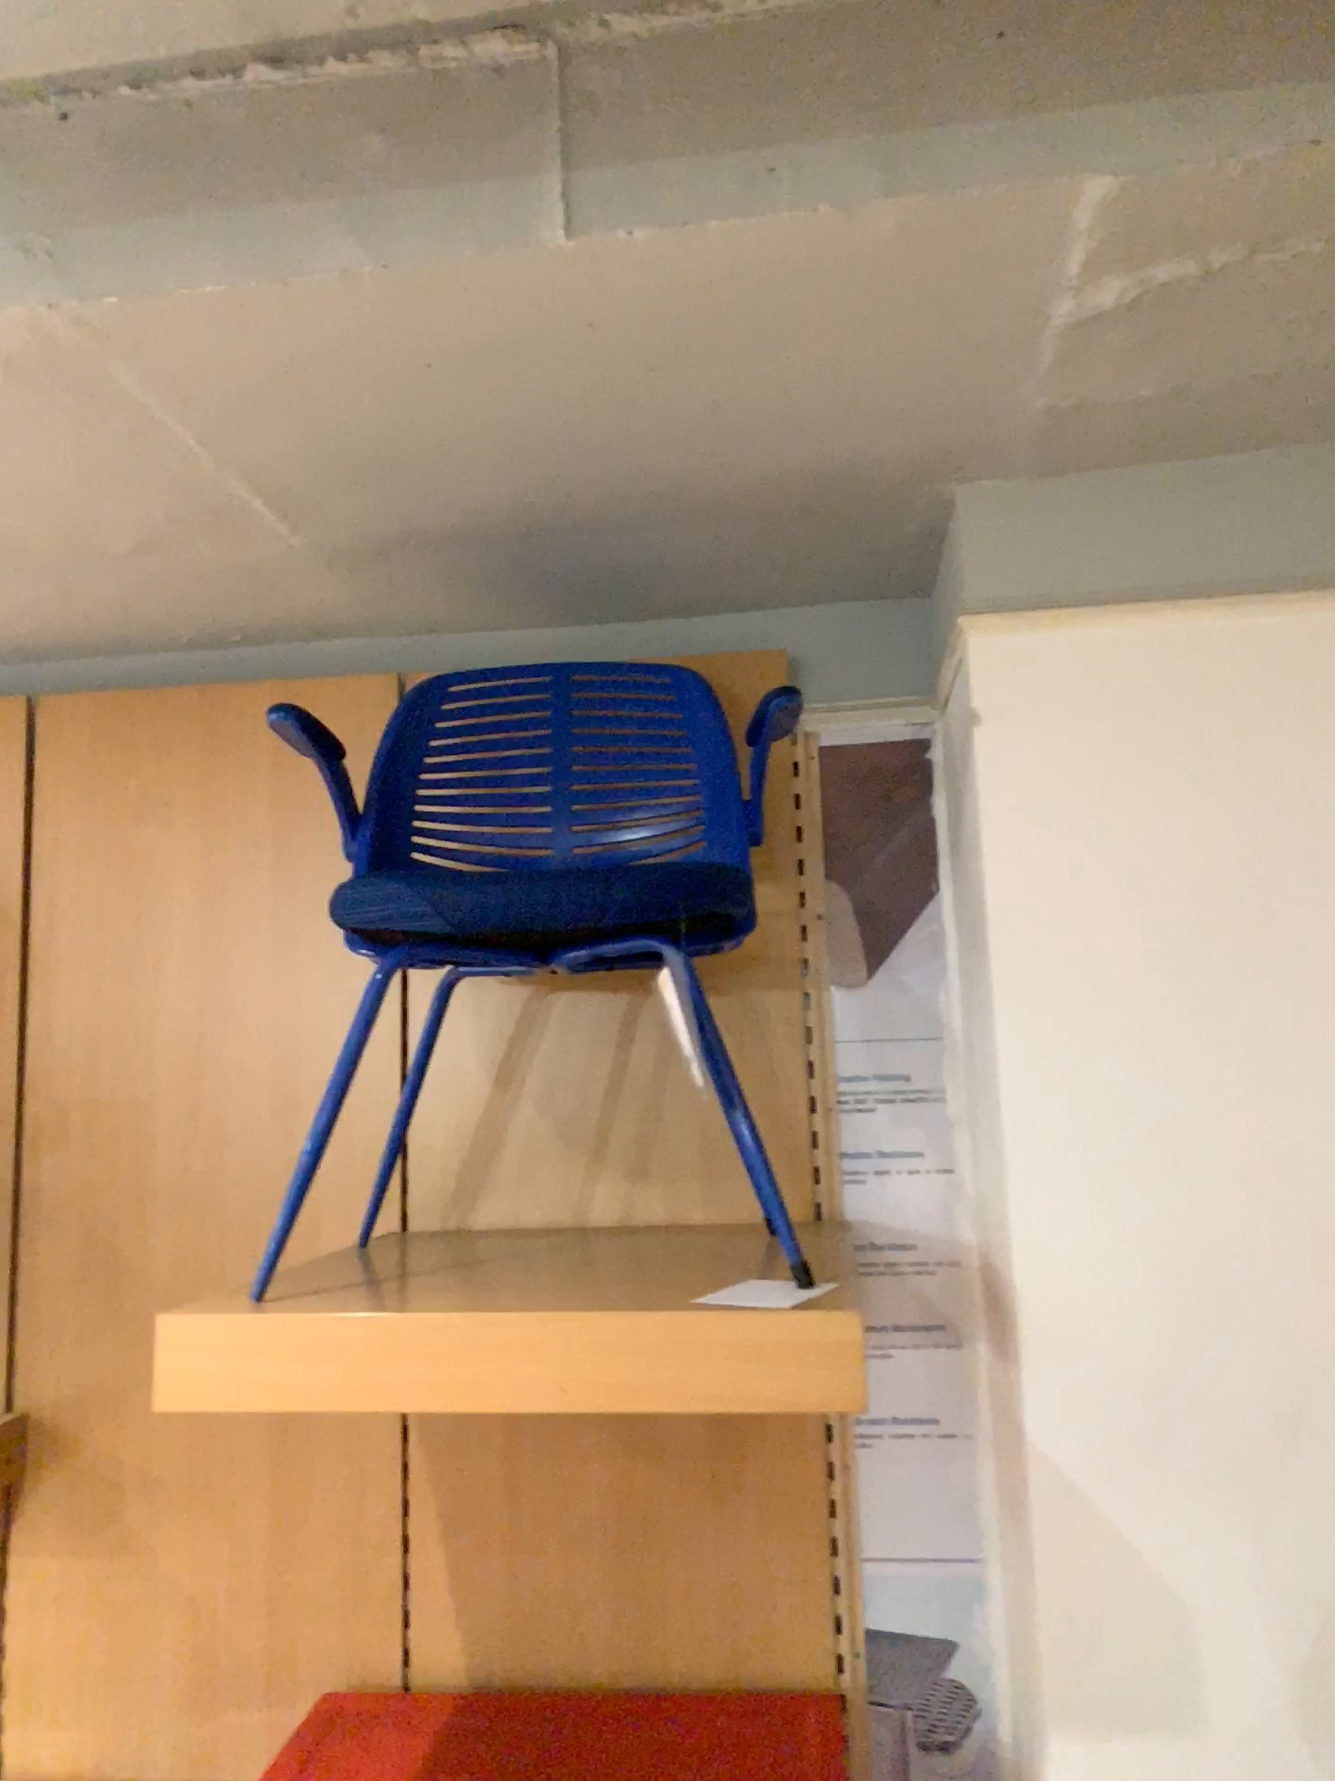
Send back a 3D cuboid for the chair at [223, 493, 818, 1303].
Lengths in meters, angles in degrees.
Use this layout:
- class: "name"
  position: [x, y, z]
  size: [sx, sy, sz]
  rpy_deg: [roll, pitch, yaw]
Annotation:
- class: "chair"
  position: [-0.146, 0.029, 1.620]
  size: [0.570, 0.791, 0.549]
  rpy_deg: [-2, -8, 2]
